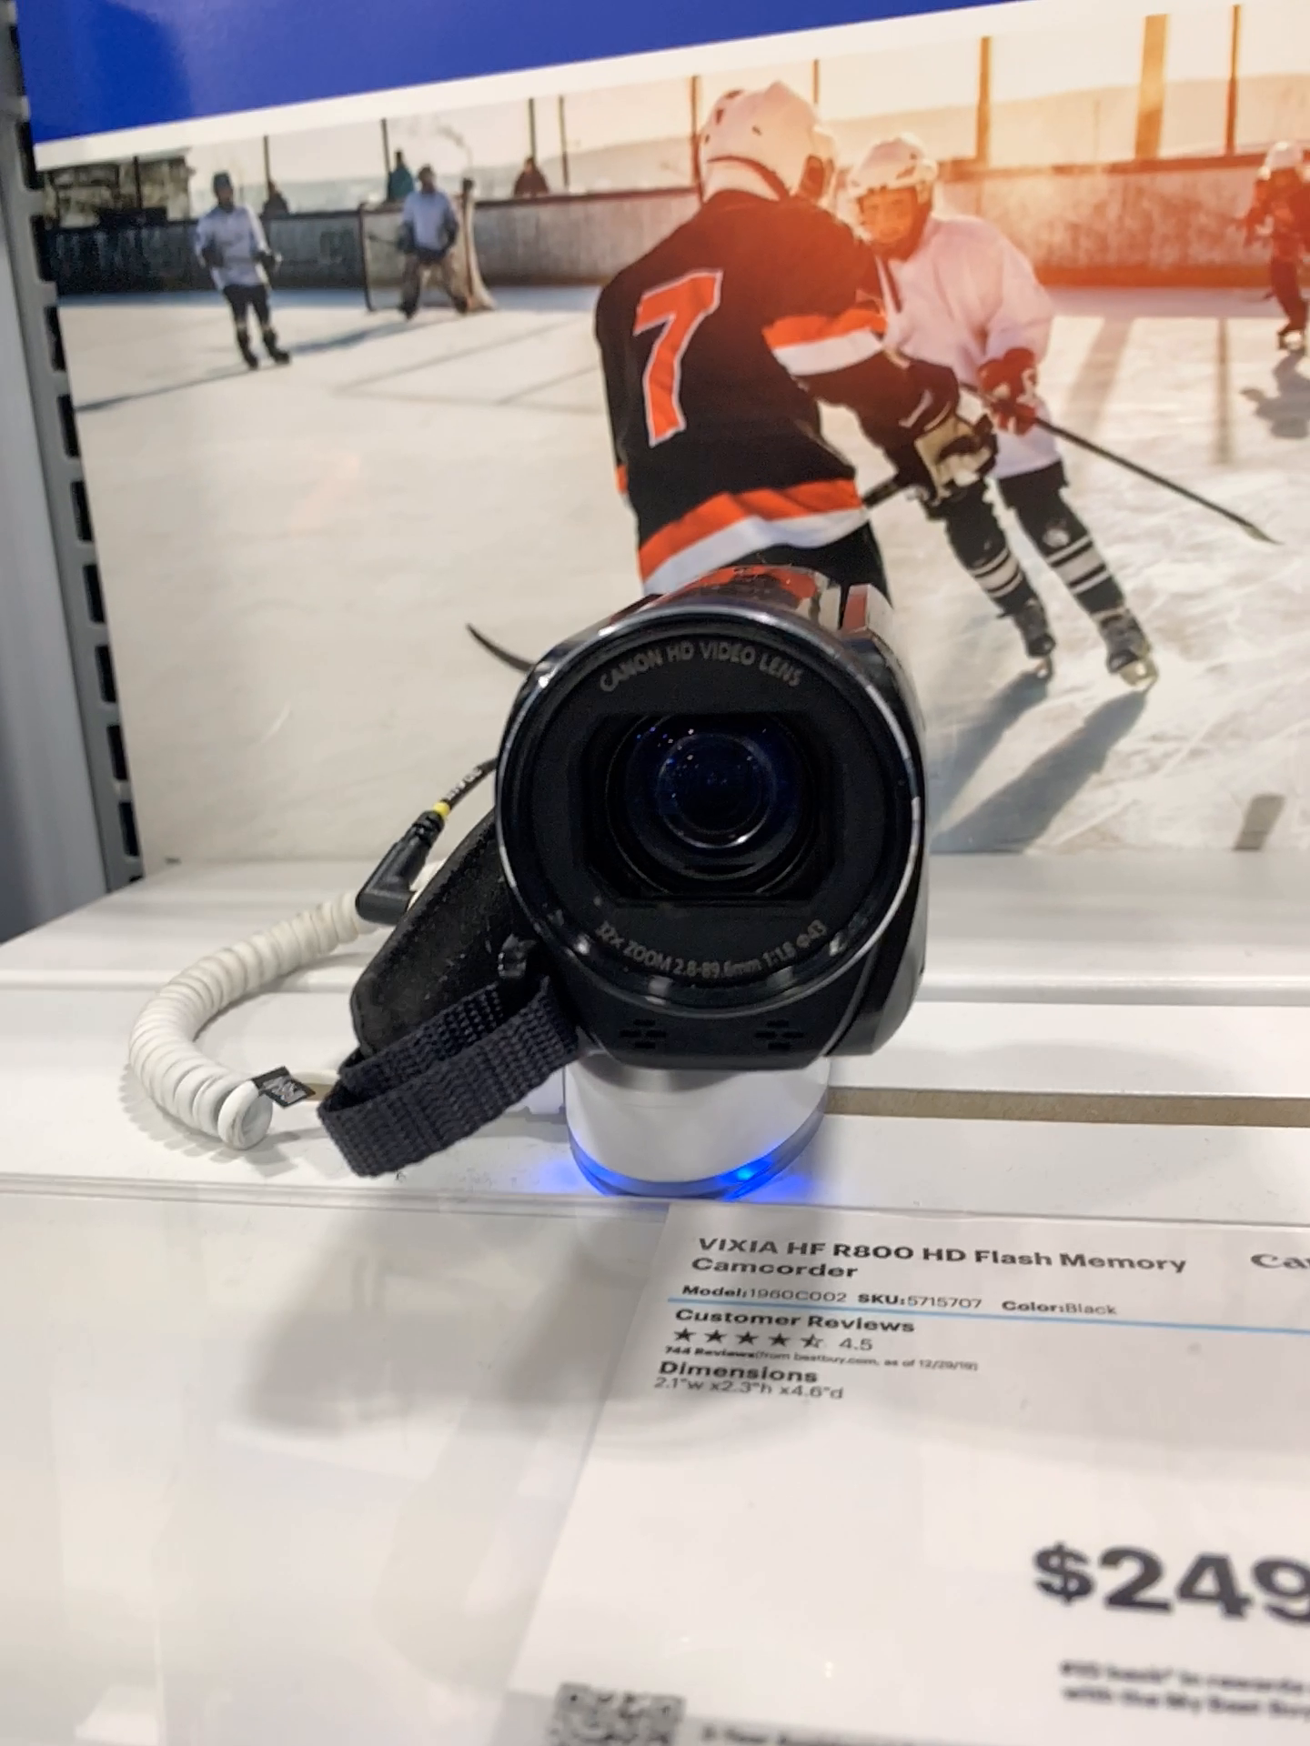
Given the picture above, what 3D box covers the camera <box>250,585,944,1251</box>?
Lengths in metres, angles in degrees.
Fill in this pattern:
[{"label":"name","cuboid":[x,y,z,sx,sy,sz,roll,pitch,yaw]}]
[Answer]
[{"label":"camera","cuboid":[0.005,-0.007,0.213,0.072,0.062,0.140,0,15,10]}]
